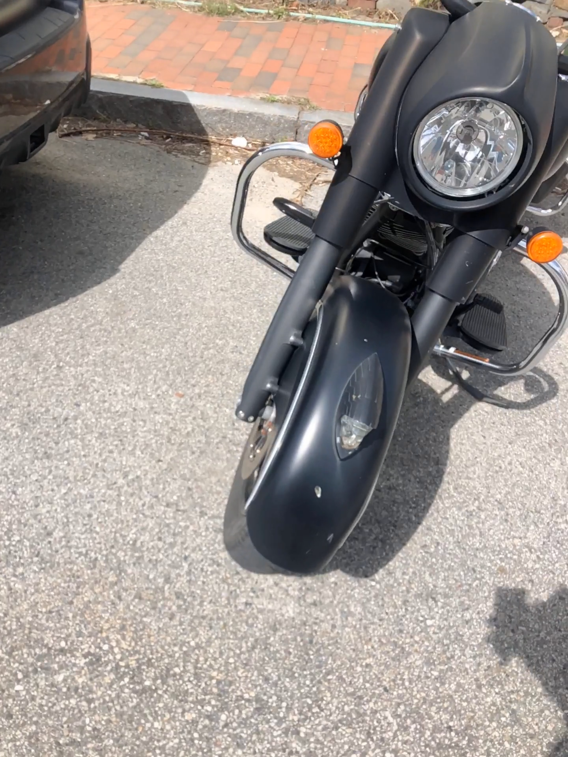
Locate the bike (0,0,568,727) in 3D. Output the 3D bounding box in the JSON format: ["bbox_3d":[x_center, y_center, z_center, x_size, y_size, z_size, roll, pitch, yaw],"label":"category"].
[{"bbox_3d":[0.330,-0.503,1.730,0.856,1.300,2.103,13,45,13],"label":"bike"}]
